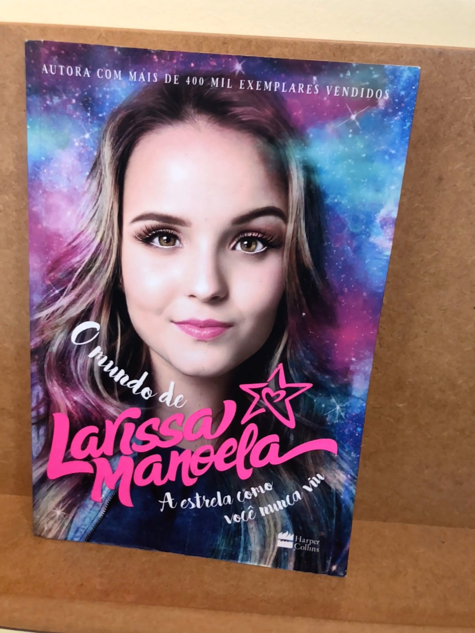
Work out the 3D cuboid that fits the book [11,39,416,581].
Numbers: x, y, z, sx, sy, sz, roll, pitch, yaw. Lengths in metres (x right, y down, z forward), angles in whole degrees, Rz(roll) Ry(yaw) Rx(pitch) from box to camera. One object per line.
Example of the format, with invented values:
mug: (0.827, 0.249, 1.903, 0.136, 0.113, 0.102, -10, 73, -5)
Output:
book: (-0.017, 0.006, 0.232, 0.150, 0.221, 0.020, 5, 14, 4)
